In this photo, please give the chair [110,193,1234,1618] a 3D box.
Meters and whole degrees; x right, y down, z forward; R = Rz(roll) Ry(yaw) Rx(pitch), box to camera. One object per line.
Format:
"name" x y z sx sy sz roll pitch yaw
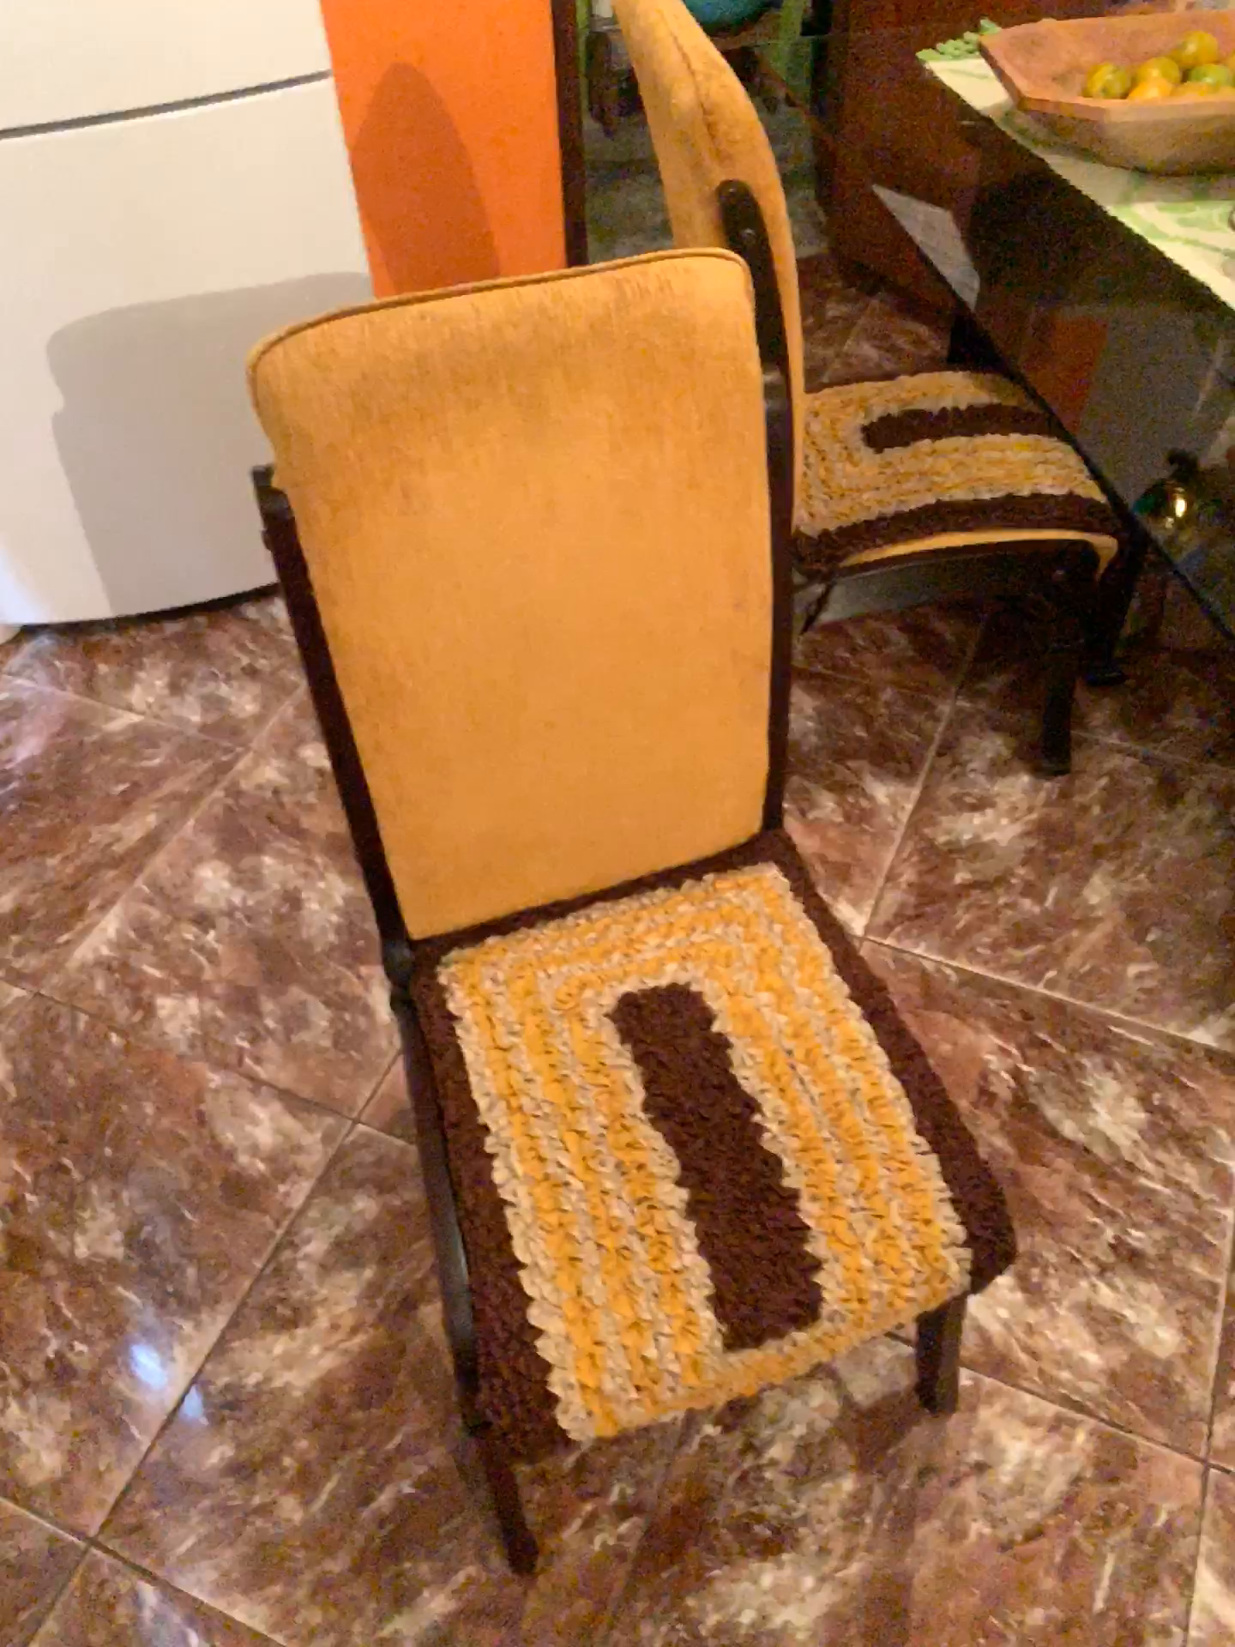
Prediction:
"chair" 0.041 0.126 1.047 0.560 0.935 0.603 -15 49 -10
